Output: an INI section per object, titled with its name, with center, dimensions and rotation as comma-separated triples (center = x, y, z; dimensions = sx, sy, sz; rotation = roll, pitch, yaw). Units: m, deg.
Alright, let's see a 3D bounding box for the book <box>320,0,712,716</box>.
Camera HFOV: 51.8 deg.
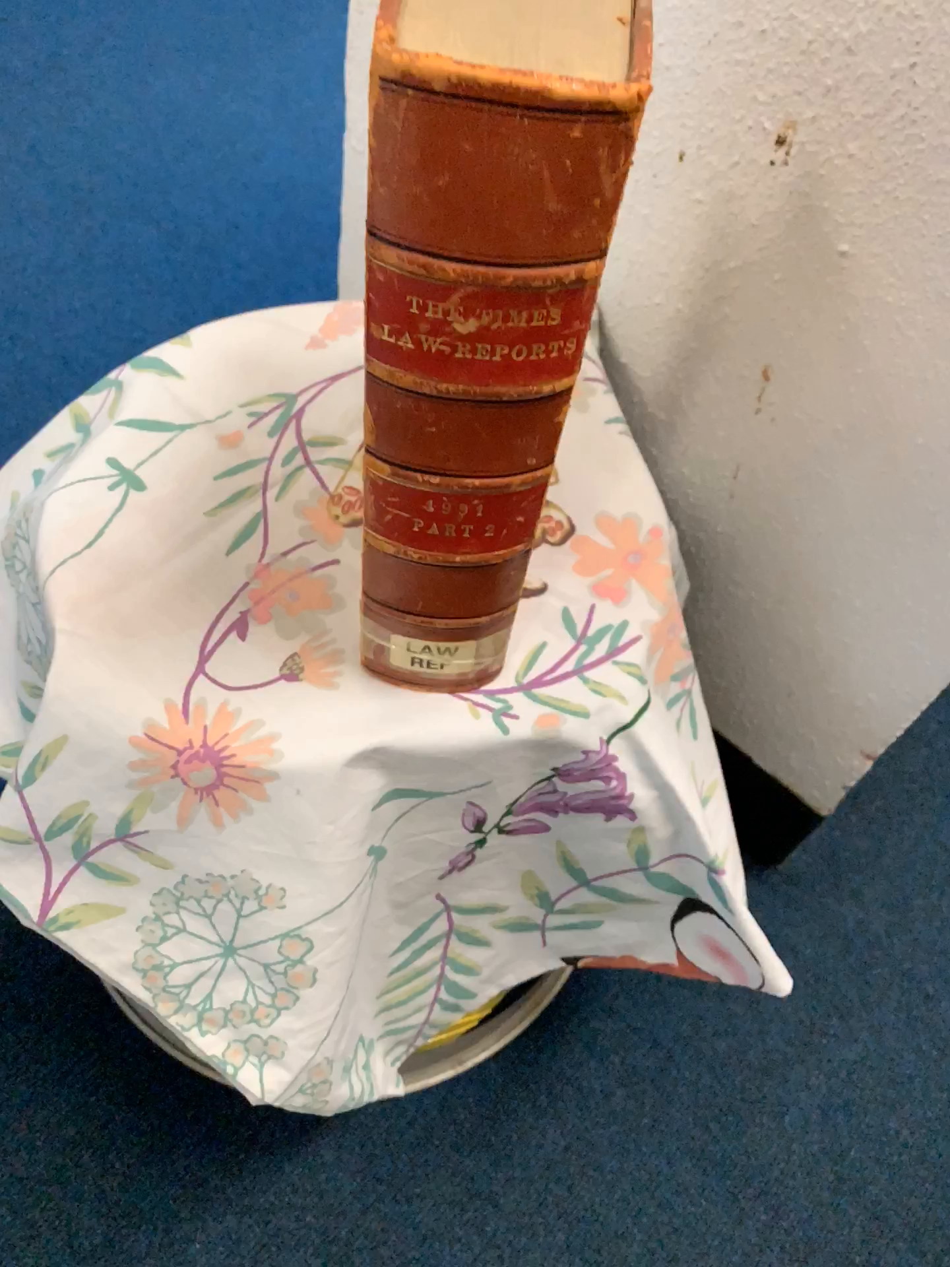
[book]
center = -0.001, -0.120, 0.345
dimensions = 0.070, 0.248, 0.191
rotation = 8, 54, -5
